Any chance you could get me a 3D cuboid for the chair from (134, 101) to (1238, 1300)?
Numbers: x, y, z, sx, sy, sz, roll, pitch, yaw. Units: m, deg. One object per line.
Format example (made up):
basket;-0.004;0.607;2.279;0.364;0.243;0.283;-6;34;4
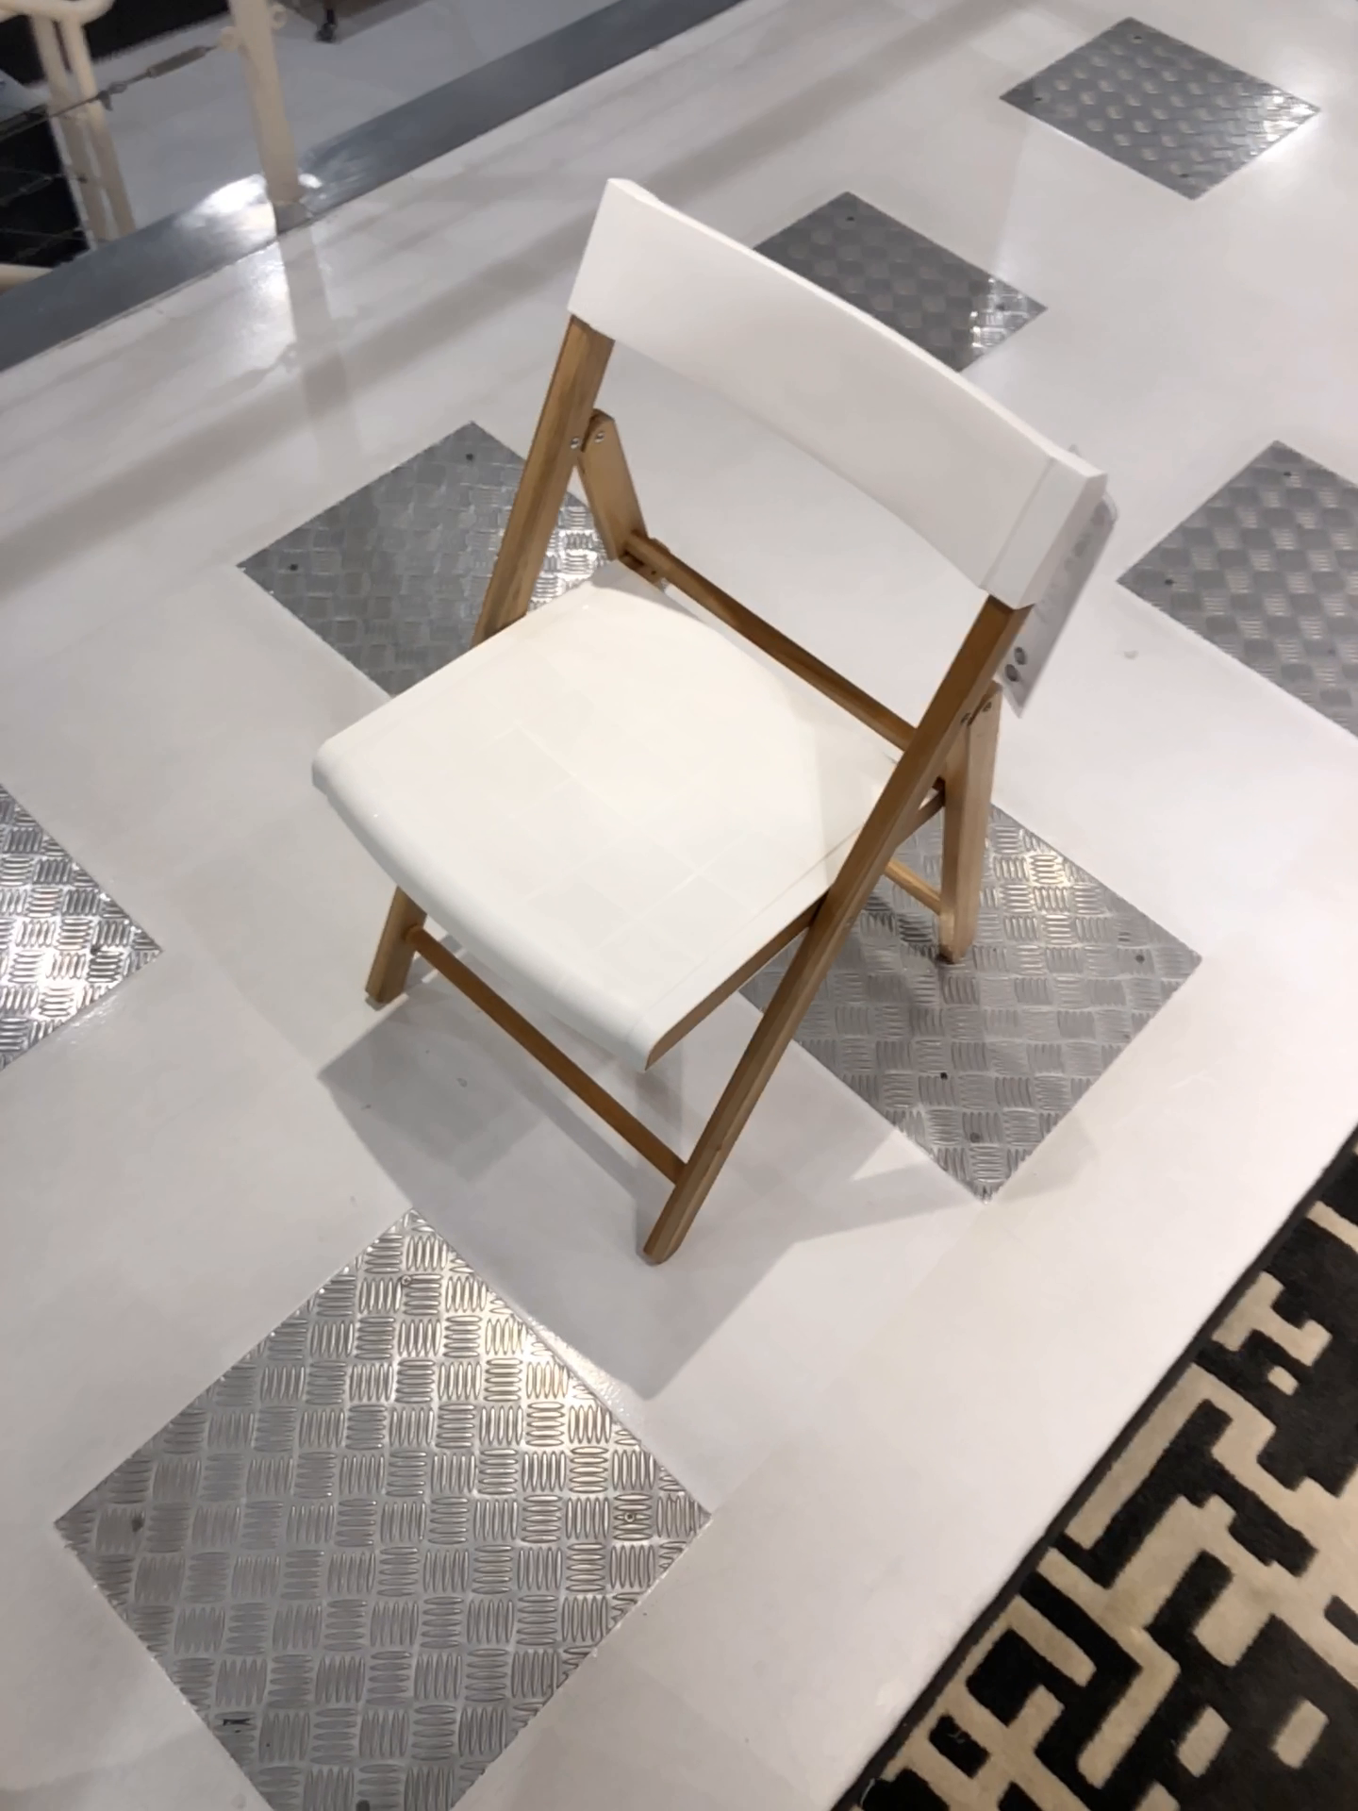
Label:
chair;0.002;-0.134;1.267;0.471;0.706;0.552;39;63;20
